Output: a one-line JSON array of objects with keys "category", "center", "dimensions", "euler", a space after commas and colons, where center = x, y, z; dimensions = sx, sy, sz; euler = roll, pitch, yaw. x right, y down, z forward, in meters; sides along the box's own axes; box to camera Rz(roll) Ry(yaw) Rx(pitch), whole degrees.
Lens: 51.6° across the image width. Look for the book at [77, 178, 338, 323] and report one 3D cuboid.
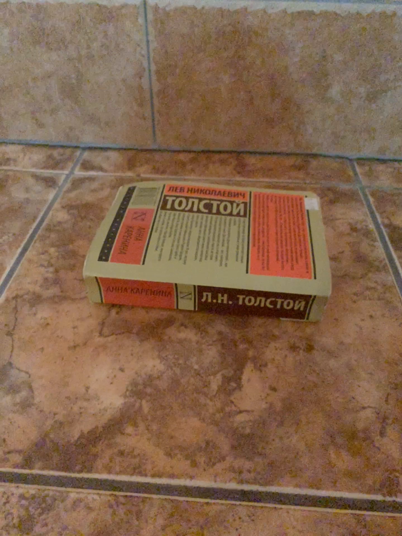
[{"category": "book", "center": [0.008, -0.021, 0.352], "dimensions": [0.185, 0.044, 0.121], "euler": [4, 43, 3]}]
